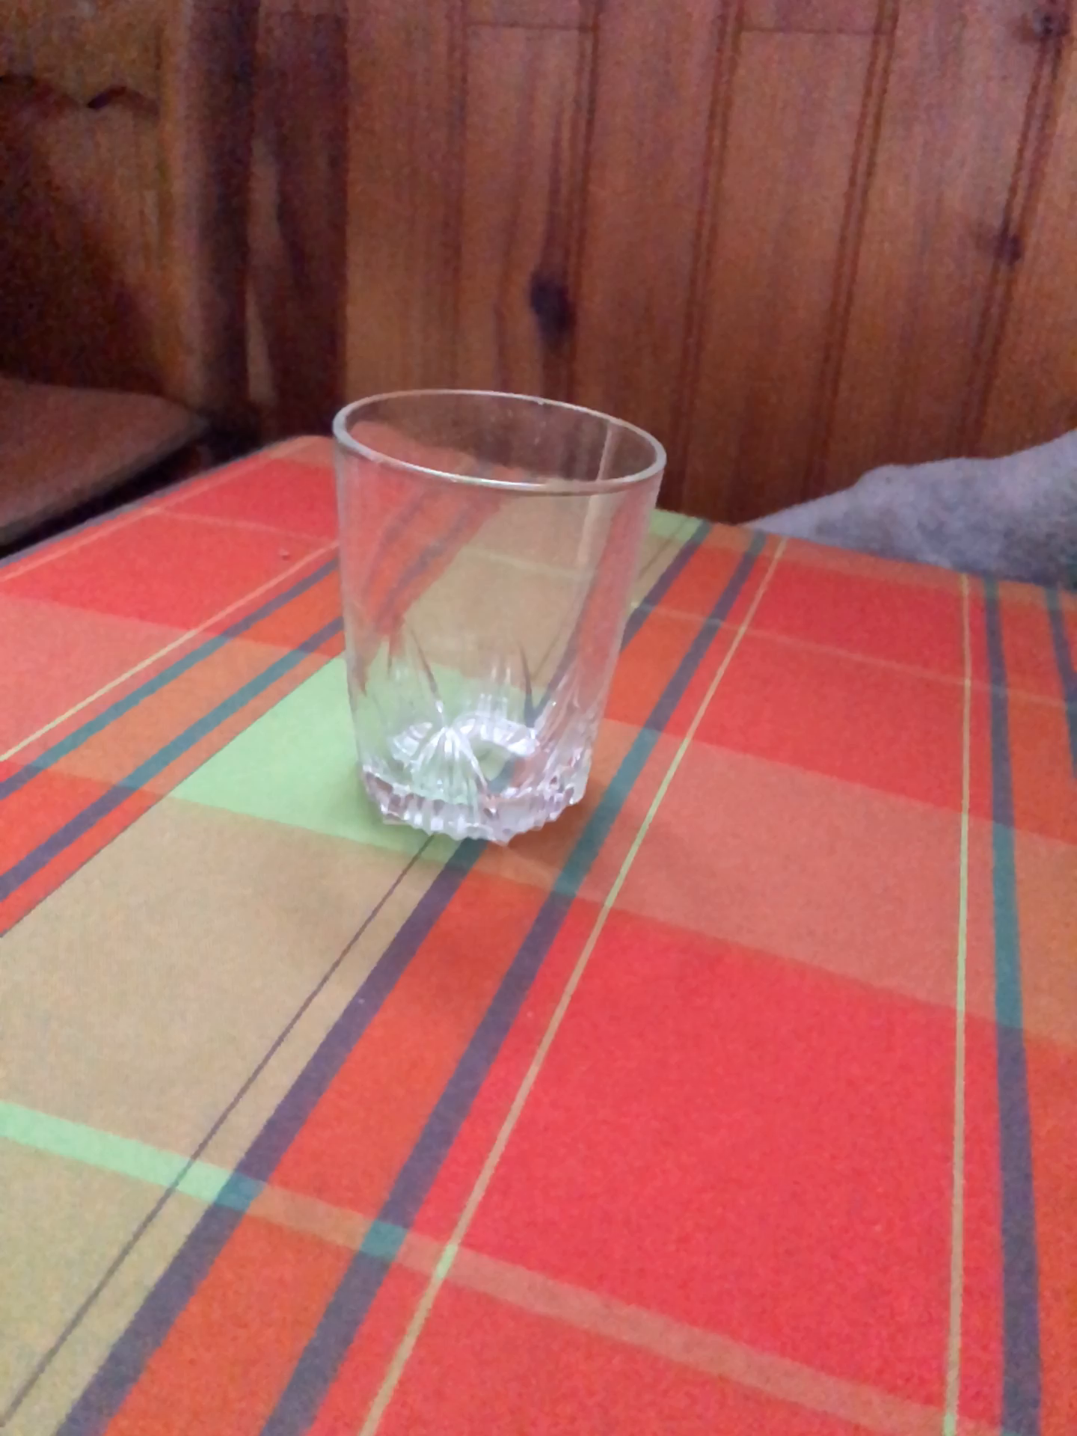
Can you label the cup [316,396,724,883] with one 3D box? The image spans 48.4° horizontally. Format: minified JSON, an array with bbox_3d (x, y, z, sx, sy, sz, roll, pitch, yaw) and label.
[{"bbox_3d":[-0.007,-0.019,0.254,0.070,0.080,0.070,3,26,-2],"label":"cup"}]
